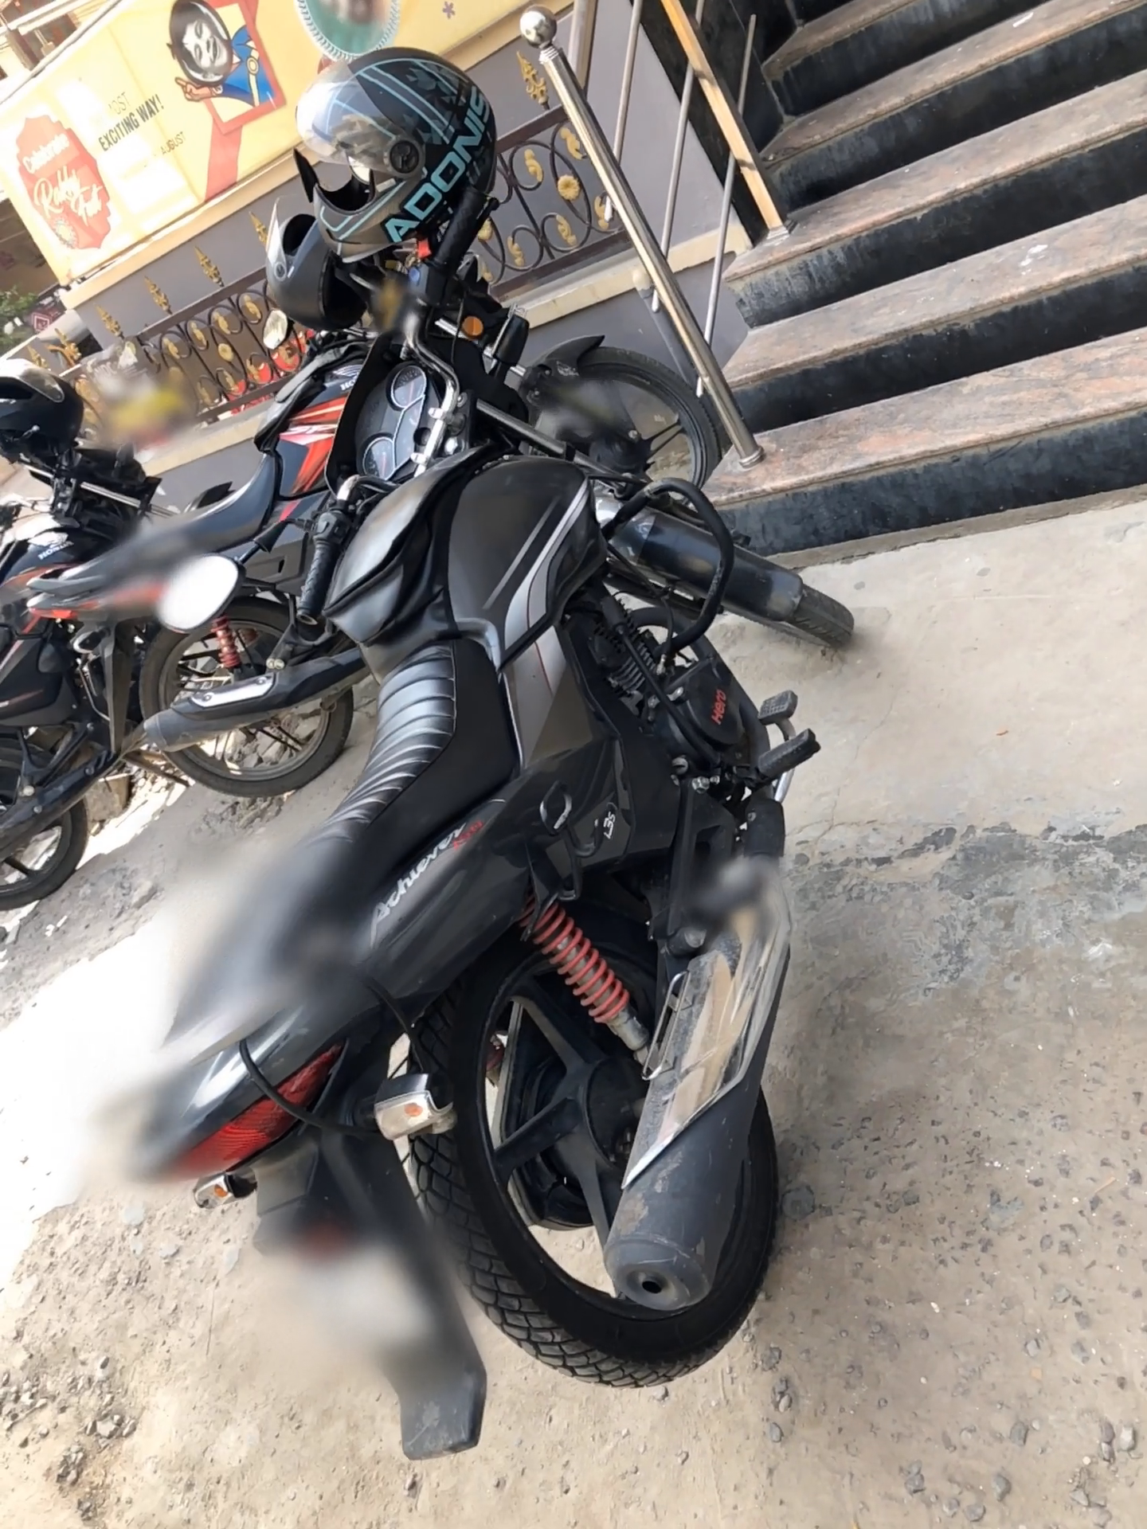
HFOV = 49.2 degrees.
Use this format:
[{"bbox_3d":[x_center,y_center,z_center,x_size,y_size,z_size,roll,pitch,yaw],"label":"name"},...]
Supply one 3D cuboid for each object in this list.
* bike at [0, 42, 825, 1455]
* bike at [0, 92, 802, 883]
[{"bbox_3d":[-0.254,-0.152,1.927,0.747,1.156,1.744,-20,34,23],"label":"bike"},{"bbox_3d":[-0.476,-0.669,3.081,1.599,1.057,0.686,-34,28,-4],"label":"bike"}]
